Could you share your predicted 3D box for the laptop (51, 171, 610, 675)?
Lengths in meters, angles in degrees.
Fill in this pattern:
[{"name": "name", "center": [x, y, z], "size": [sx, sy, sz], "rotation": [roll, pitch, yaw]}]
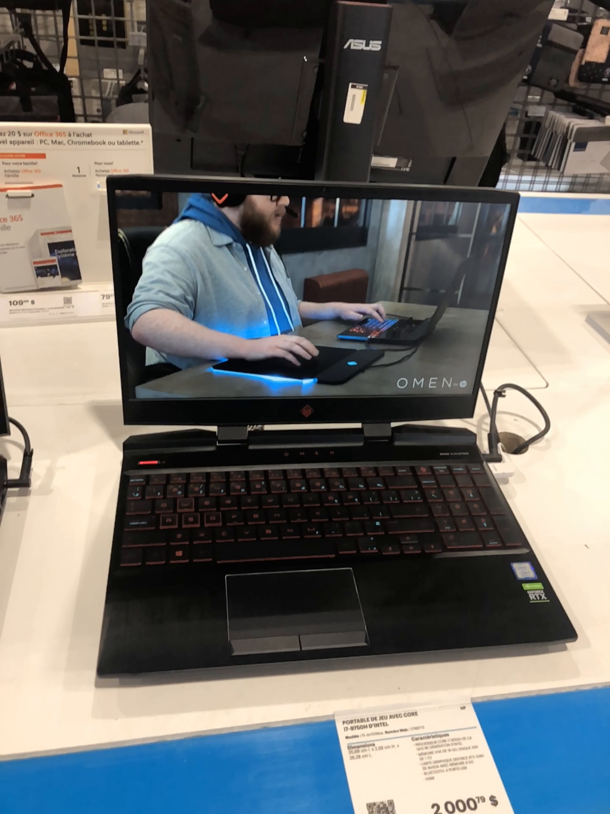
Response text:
[{"name": "laptop", "center": [0.023, -0.009, 0.537], "size": [0.355, 0.239, 0.294], "rotation": [-1, 38, -10]}]
